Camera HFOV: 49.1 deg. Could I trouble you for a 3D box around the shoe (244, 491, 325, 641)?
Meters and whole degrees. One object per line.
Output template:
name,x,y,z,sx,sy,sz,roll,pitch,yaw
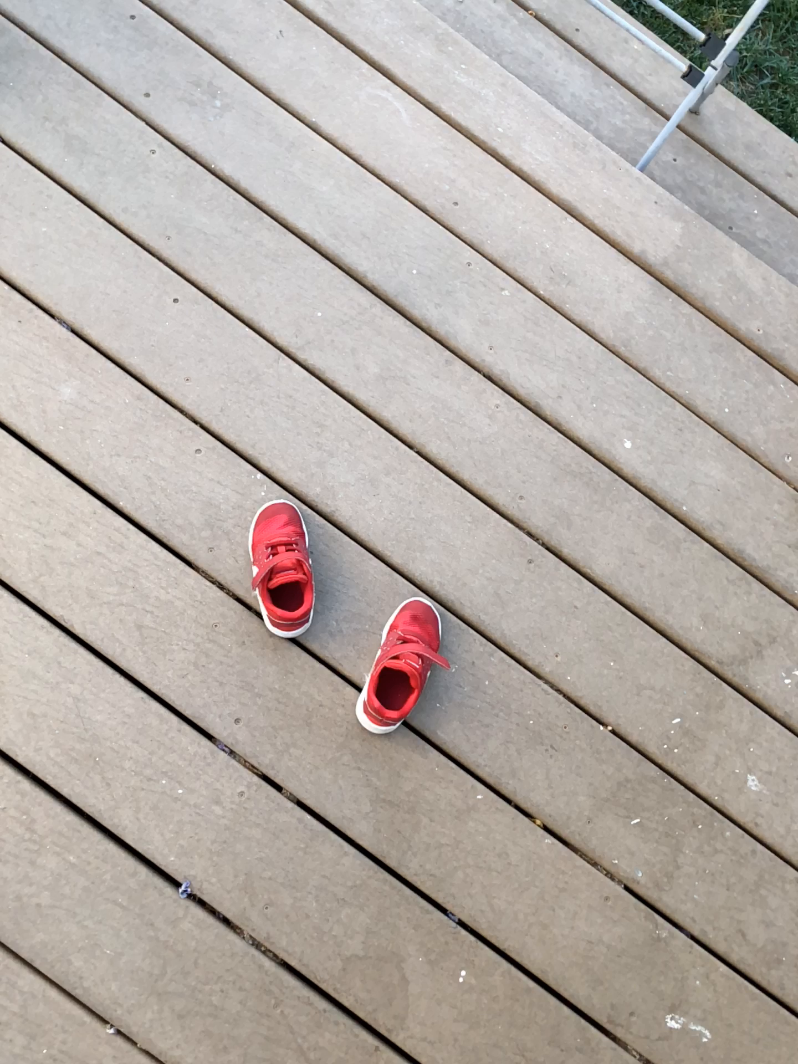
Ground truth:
shoe,-0.131,0.039,0.988,0.073,0.069,0.153,-4,77,-13

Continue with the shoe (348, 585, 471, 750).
shoe,0.011,0.154,0.984,0.069,0.069,0.164,25,72,-4
